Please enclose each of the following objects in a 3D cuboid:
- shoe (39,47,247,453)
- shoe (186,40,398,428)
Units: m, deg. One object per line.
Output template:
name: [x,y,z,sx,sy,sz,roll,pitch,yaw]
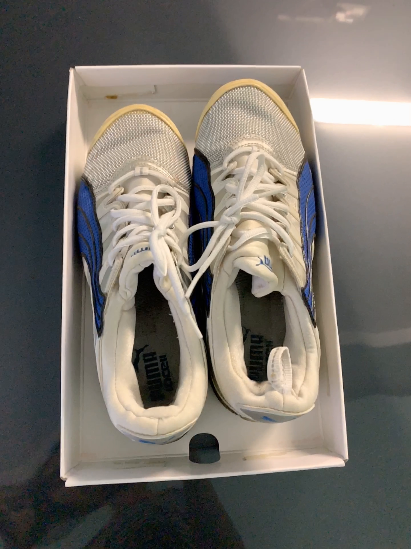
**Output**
shoe: [-0.048,-0.026,0.318,0.110,0.089,0.282,-4,69,-5]
shoe: [0.043,-0.036,0.323,0.110,0.089,0.282,-1,69,-3]
